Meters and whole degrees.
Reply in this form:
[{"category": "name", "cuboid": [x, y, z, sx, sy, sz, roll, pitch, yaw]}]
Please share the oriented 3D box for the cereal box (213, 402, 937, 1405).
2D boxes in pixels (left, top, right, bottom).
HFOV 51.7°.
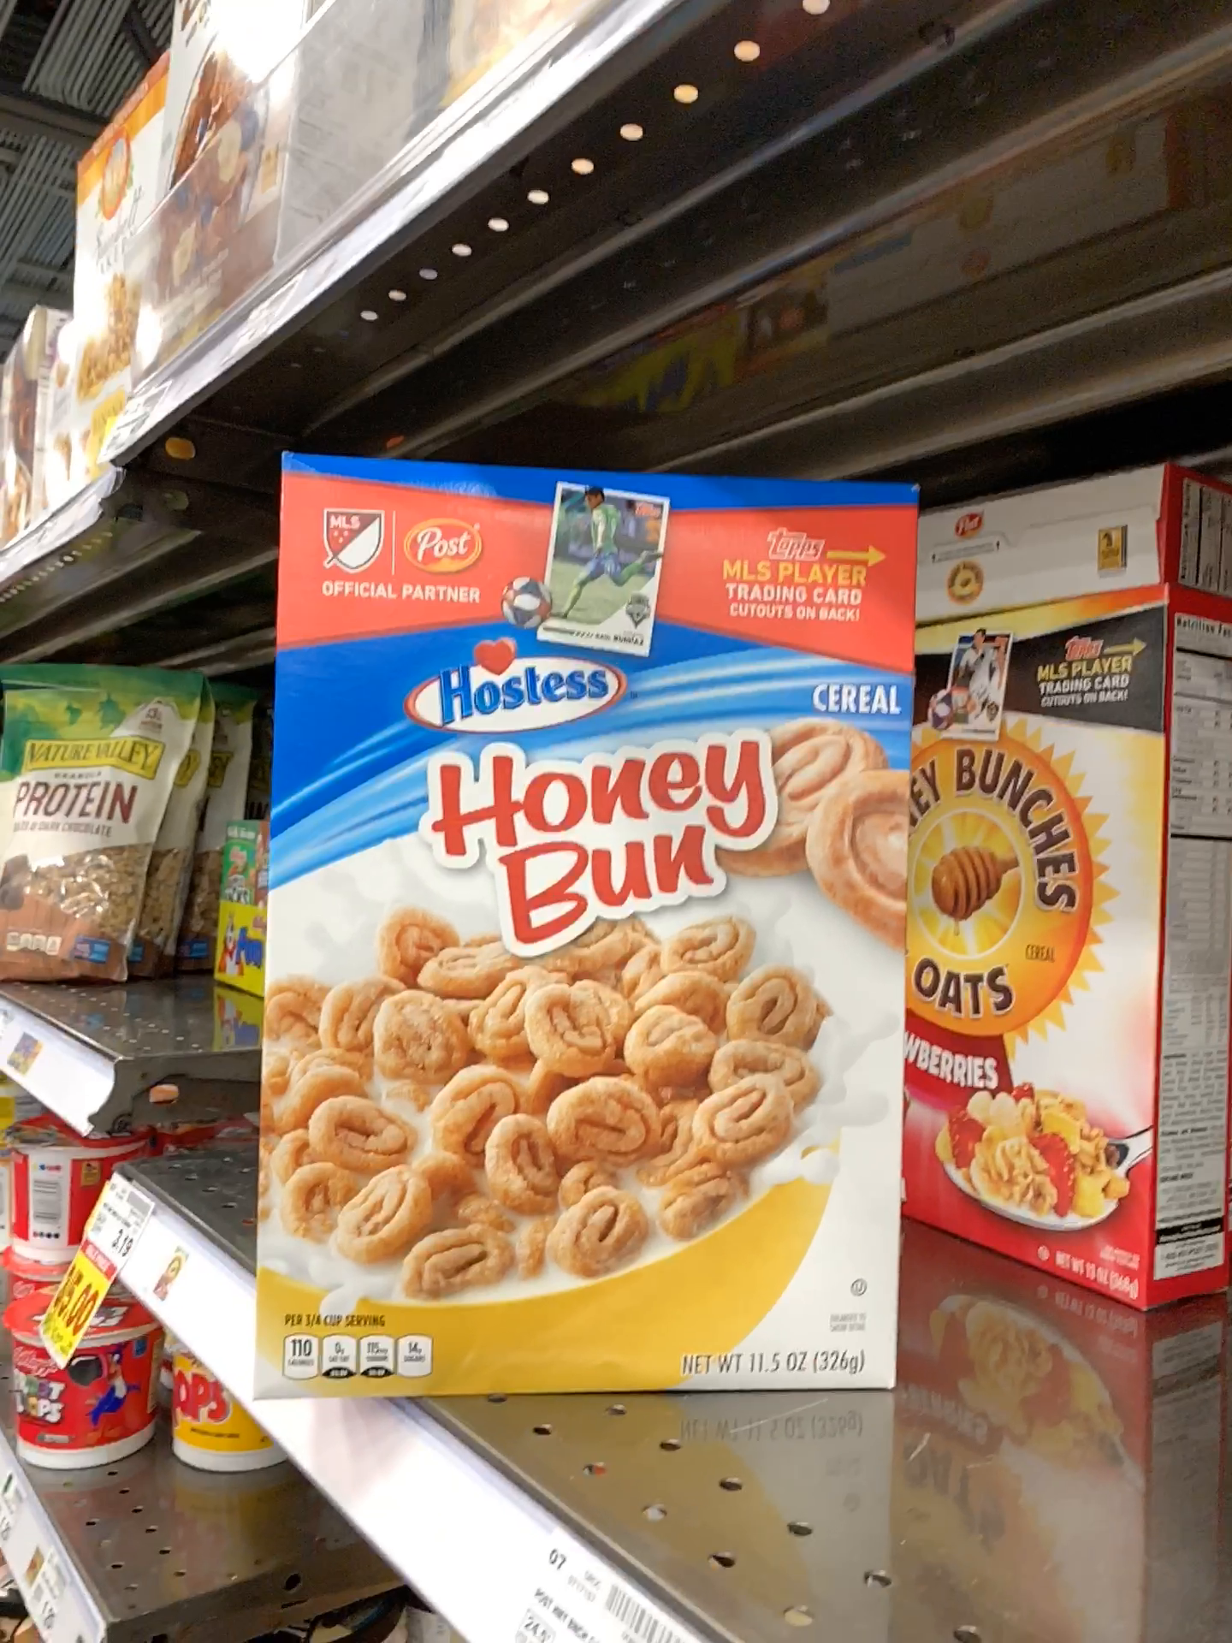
[{"category": "cereal box", "cuboid": [-0.011, 0.025, 0.396, 0.200, 0.280, 0.060, 2, -2, -6]}]
